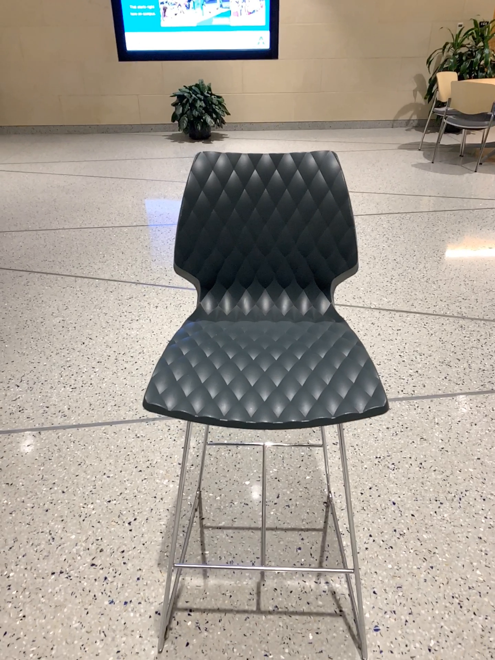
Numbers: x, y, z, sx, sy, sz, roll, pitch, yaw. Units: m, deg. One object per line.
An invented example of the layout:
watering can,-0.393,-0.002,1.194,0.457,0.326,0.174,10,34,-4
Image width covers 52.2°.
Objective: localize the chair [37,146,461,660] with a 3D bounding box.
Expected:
chair,0.018,0.171,1.116,0.534,0.995,0.536,2,31,4
